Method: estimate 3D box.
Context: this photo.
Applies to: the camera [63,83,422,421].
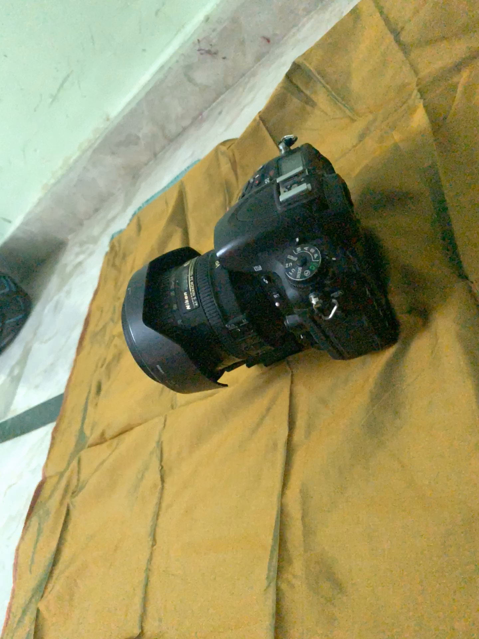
[{"bbox_3d":[0.000,-0.034,0.339,0.193,0.099,0.140,-20,48,27],"label":"camera"}]
